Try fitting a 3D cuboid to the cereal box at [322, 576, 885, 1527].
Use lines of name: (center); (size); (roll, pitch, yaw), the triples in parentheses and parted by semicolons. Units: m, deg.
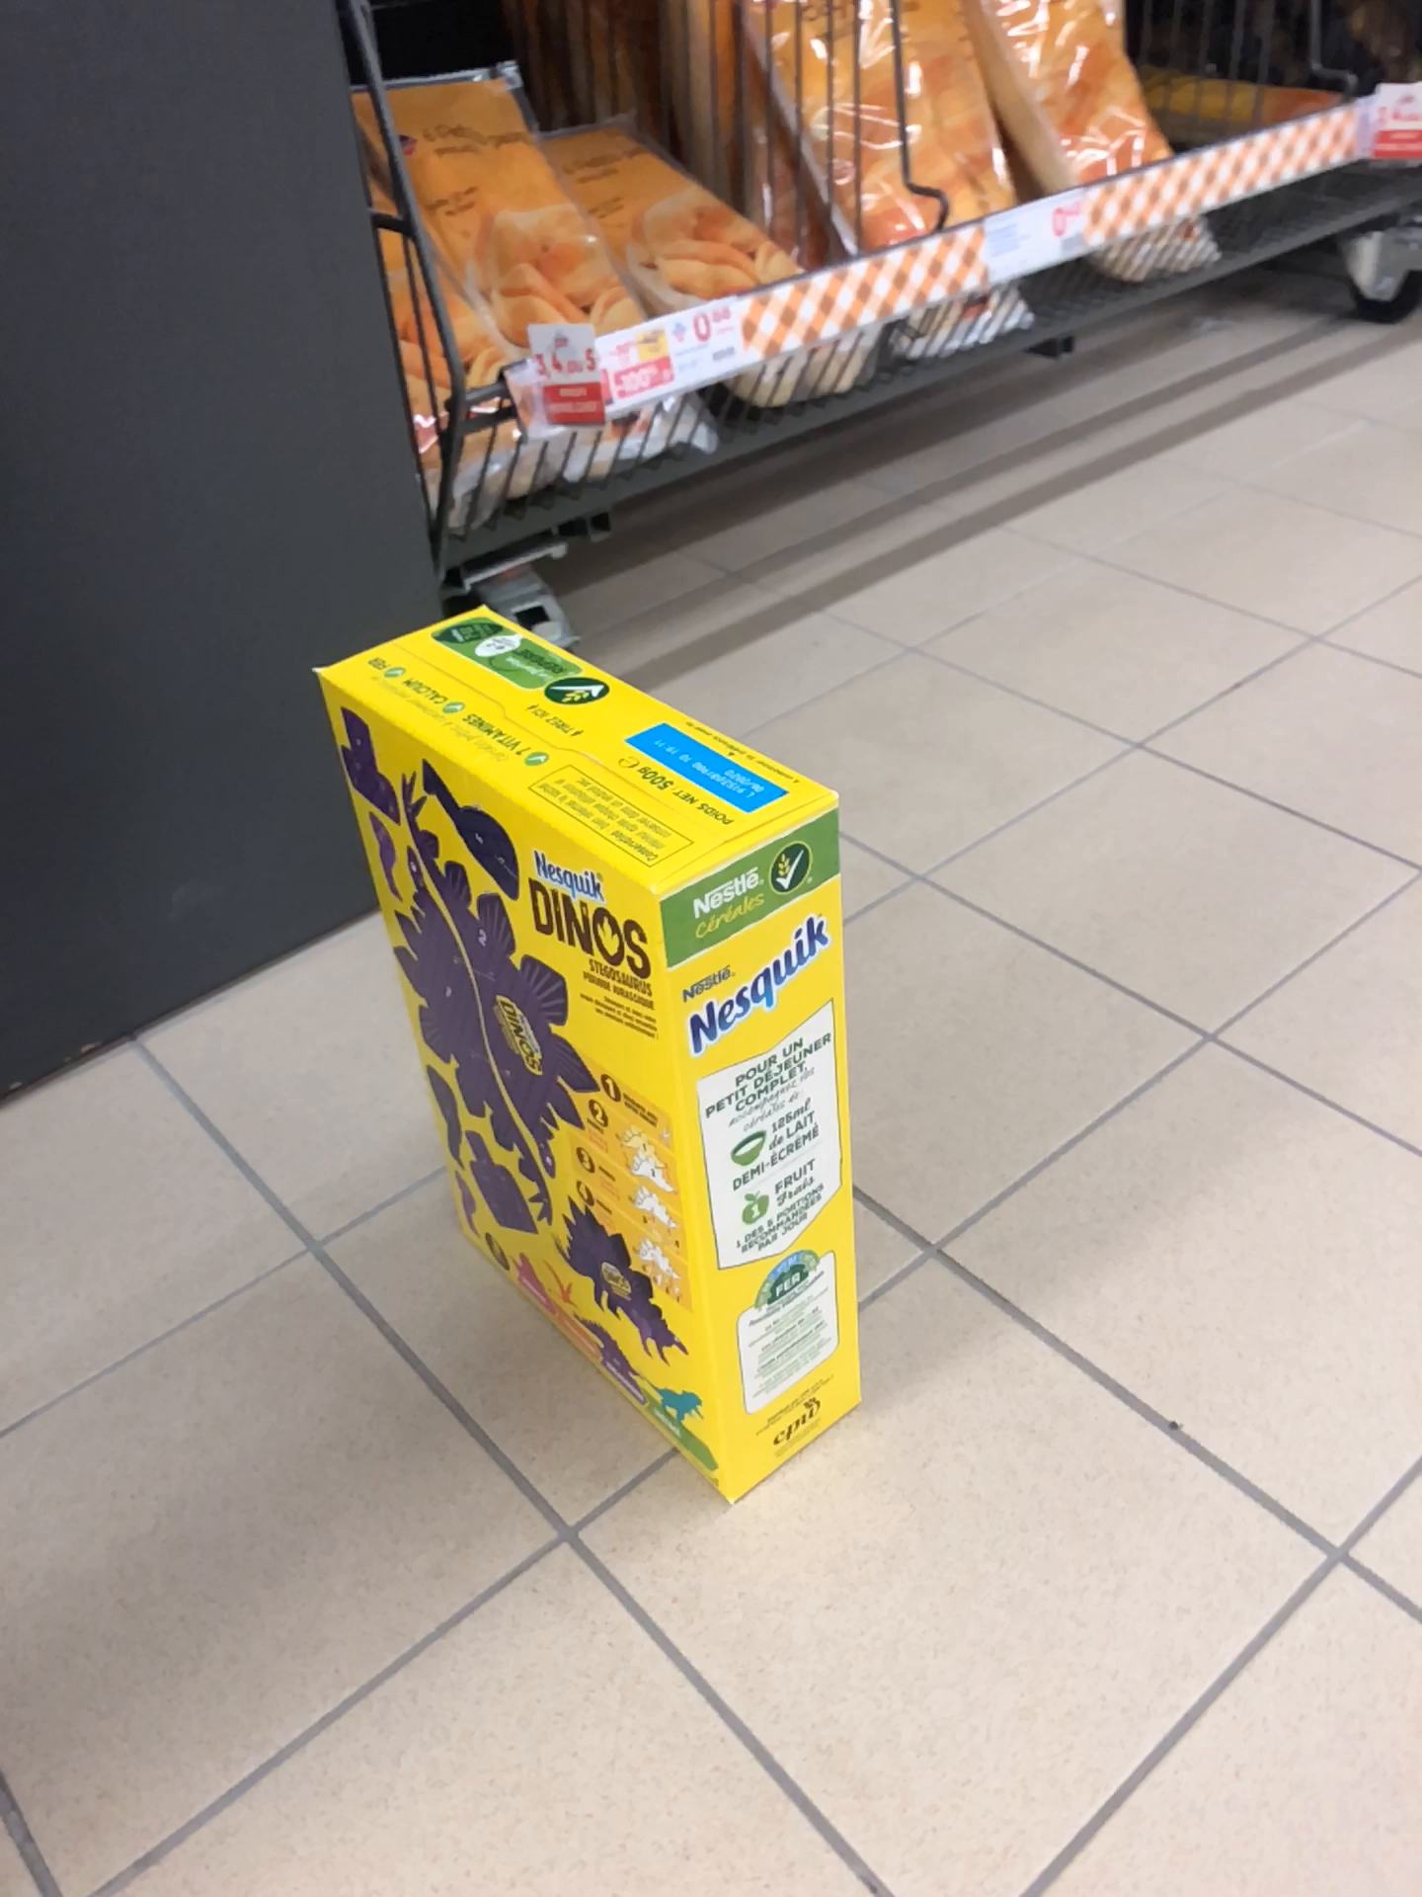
cereal box: (-0.033, 0.041, 0.580); (0.070, 0.298, 0.200); (-30, 44, -29)
